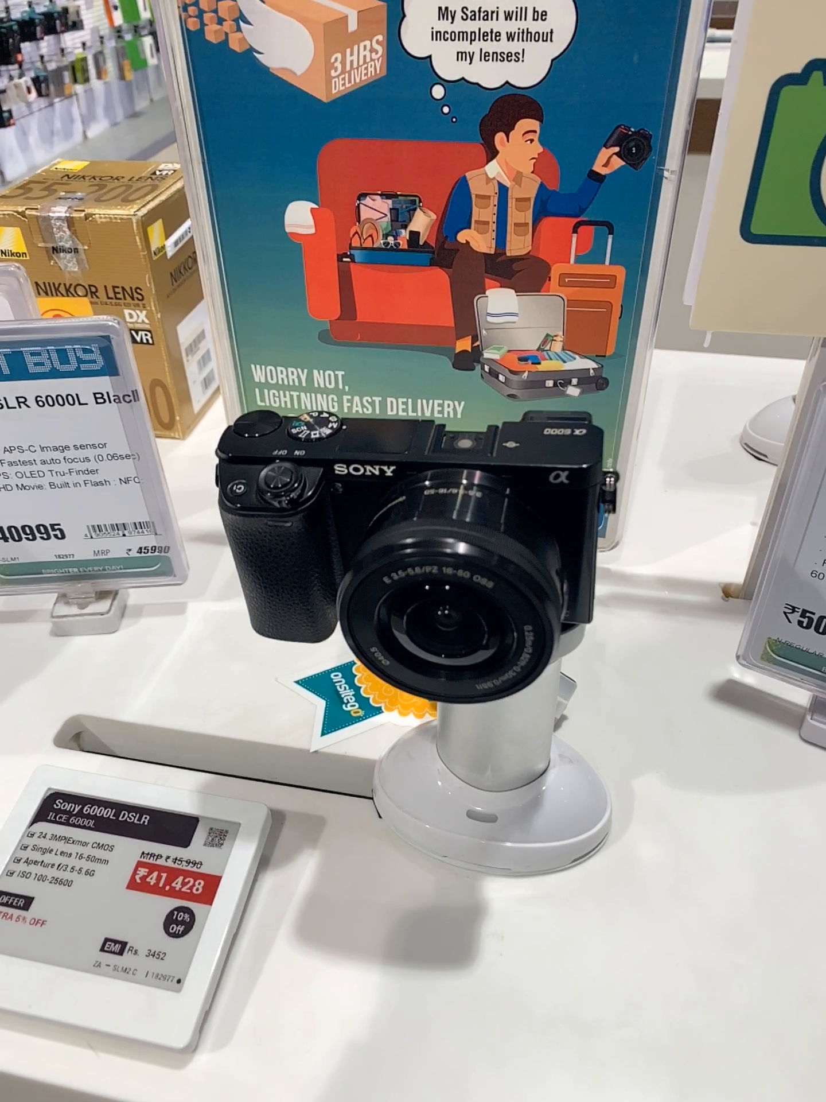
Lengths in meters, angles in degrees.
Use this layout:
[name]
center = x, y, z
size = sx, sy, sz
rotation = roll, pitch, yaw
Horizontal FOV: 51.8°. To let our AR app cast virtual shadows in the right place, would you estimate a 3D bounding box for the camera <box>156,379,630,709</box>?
[camera]
center = -0.003, -0.003, 0.253
size = 0.118, 0.073, 0.056
rotation = 3, 38, 6
